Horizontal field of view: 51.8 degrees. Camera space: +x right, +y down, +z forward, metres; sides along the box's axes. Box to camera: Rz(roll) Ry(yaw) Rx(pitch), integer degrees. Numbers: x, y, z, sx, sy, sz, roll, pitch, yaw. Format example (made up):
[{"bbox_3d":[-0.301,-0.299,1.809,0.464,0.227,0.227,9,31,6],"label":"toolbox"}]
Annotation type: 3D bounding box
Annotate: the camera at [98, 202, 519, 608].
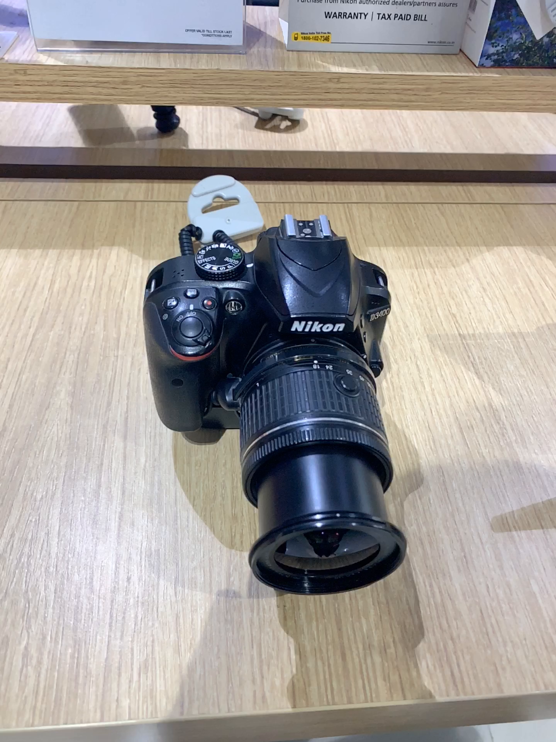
[{"bbox_3d":[0.002,0.008,0.243,0.120,0.094,0.140,-2,47,-5],"label":"camera"}]
